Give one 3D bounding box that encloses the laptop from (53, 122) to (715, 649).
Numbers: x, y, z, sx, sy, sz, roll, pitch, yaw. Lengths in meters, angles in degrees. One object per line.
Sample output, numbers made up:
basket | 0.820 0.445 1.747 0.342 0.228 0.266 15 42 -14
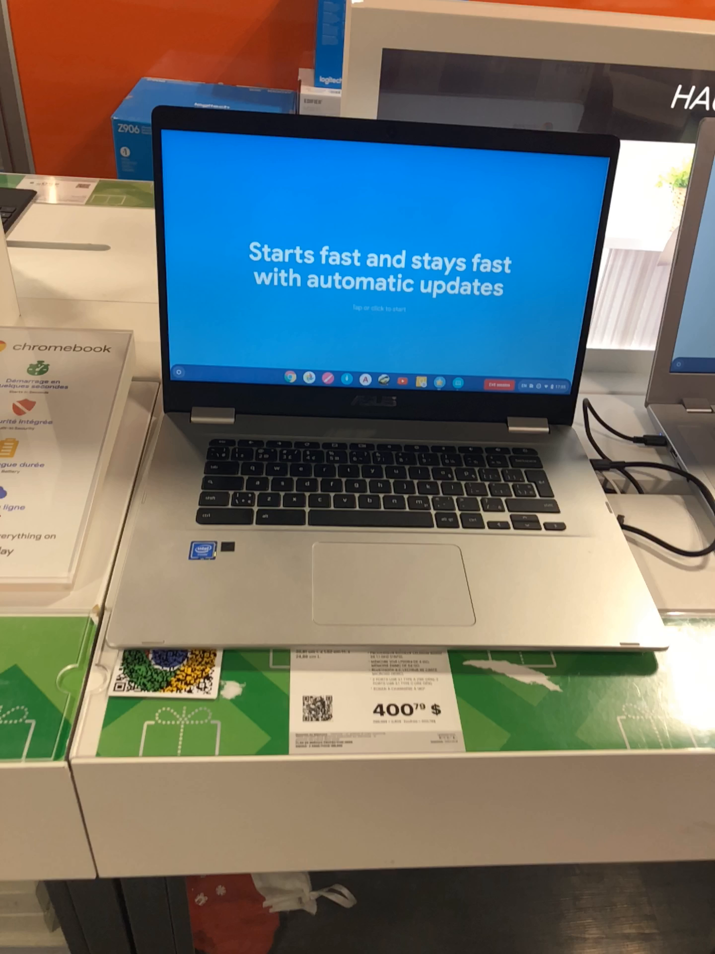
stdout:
laptop | 0.030 -0.075 0.525 0.337 0.225 0.287 1 38 -4
